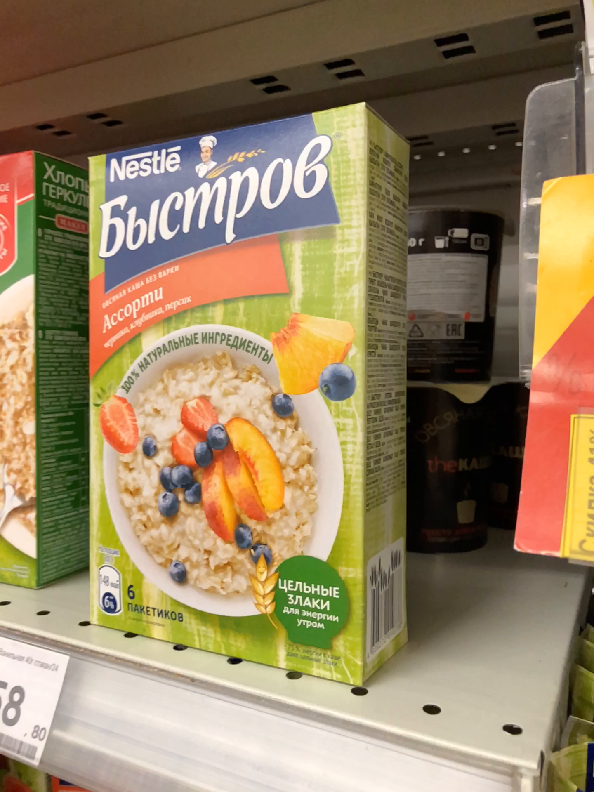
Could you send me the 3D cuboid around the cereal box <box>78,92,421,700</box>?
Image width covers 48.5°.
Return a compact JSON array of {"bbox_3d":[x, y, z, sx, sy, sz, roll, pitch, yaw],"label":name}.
[{"bbox_3d":[-0.021,-0.001,0.269,0.130,0.200,0.050,1,2,28],"label":"cereal box"}]
